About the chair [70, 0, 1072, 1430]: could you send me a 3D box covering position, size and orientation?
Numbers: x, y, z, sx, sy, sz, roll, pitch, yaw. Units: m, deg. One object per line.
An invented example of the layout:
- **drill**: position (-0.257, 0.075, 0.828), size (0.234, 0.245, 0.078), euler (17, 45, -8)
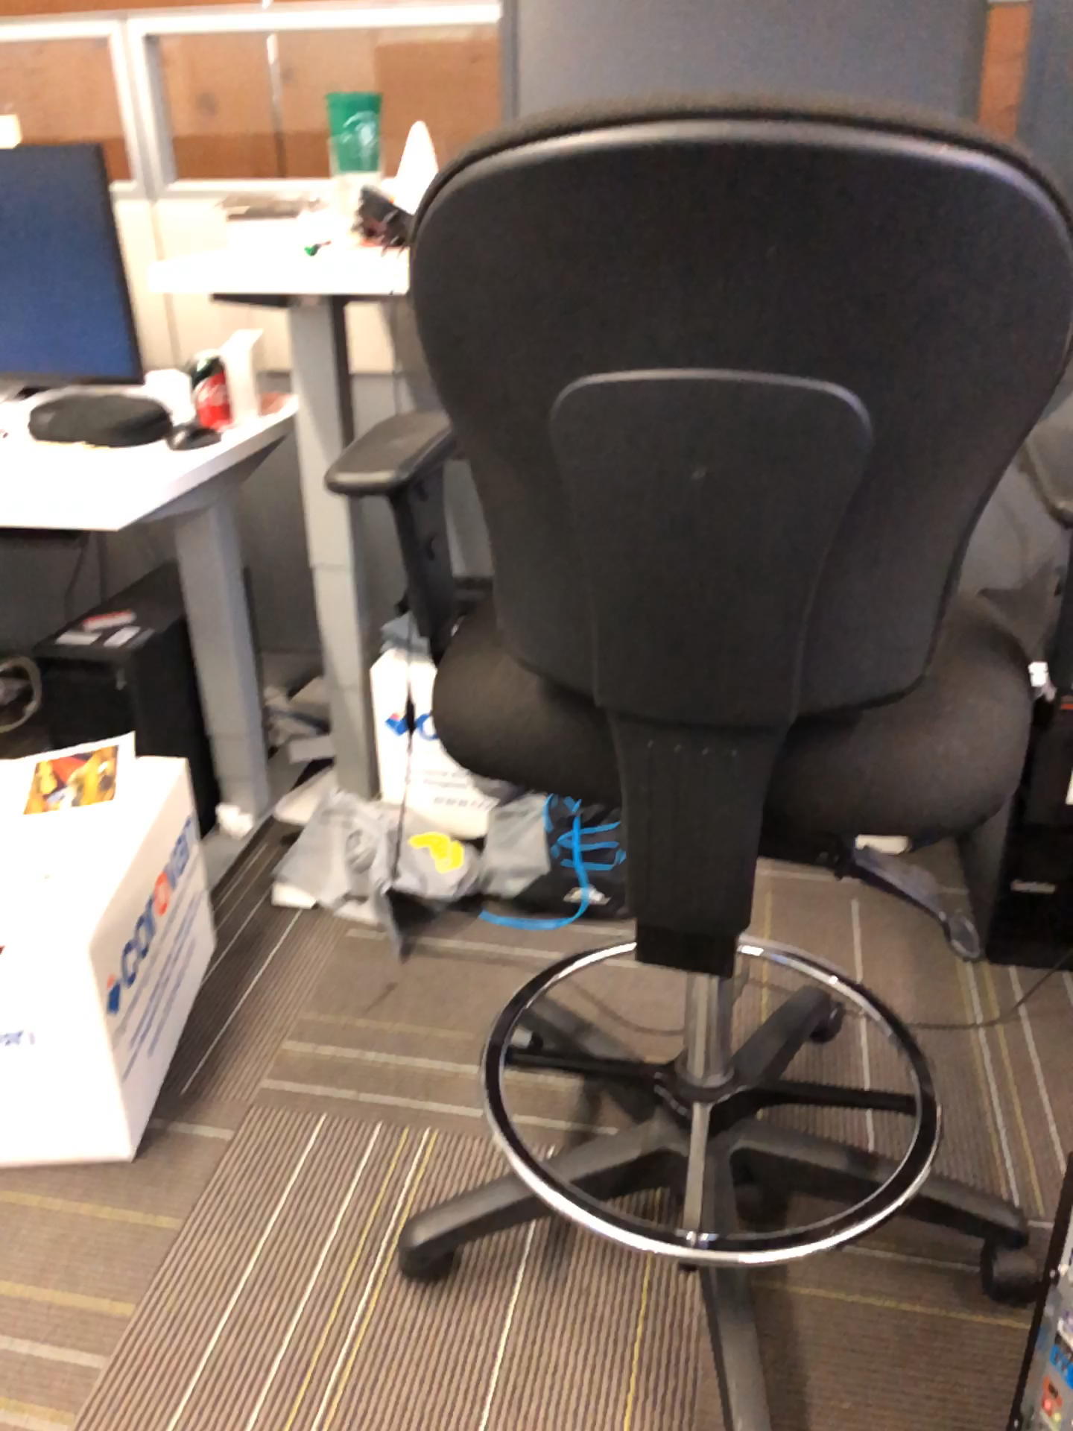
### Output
- **chair**: position (0.175, 0.043, 1.099), size (0.640, 1.134, 0.733), euler (6, 26, 15)
